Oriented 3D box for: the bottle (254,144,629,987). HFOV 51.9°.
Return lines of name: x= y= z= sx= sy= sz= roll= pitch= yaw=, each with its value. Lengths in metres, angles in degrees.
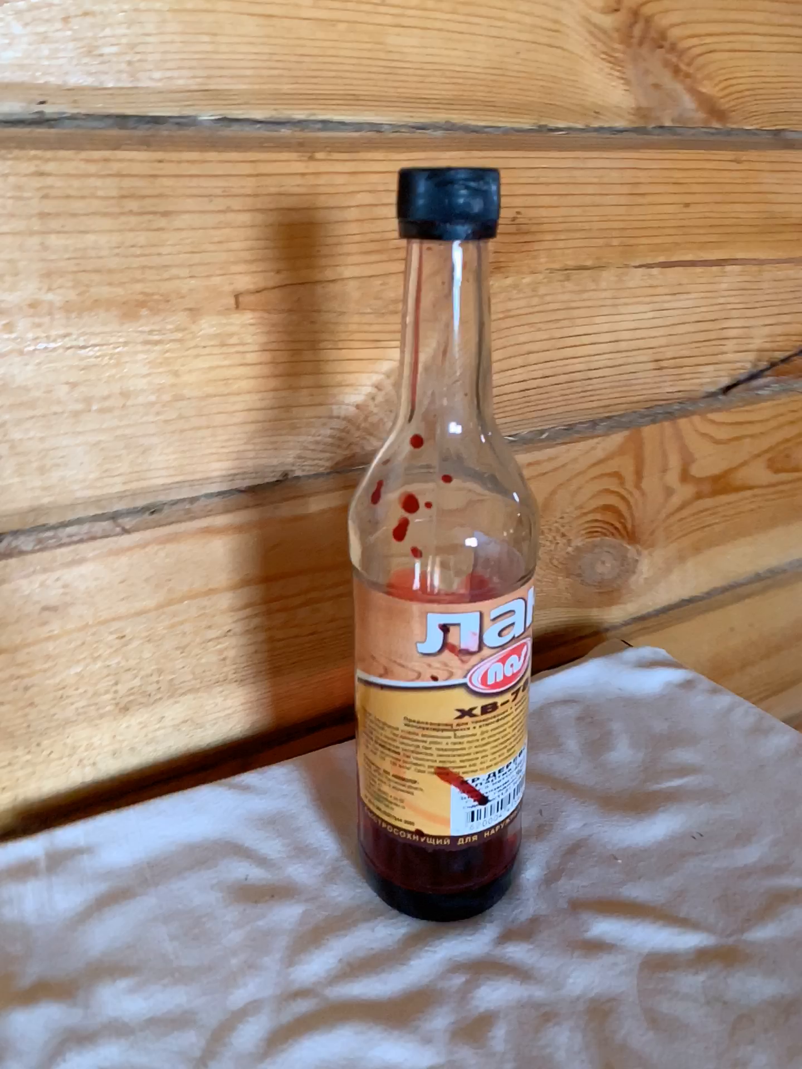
bottle: x=0.013 y=0.013 z=0.281 sx=0.080 sy=0.258 sz=0.070 roll=-18 pitch=27 yaw=-37
